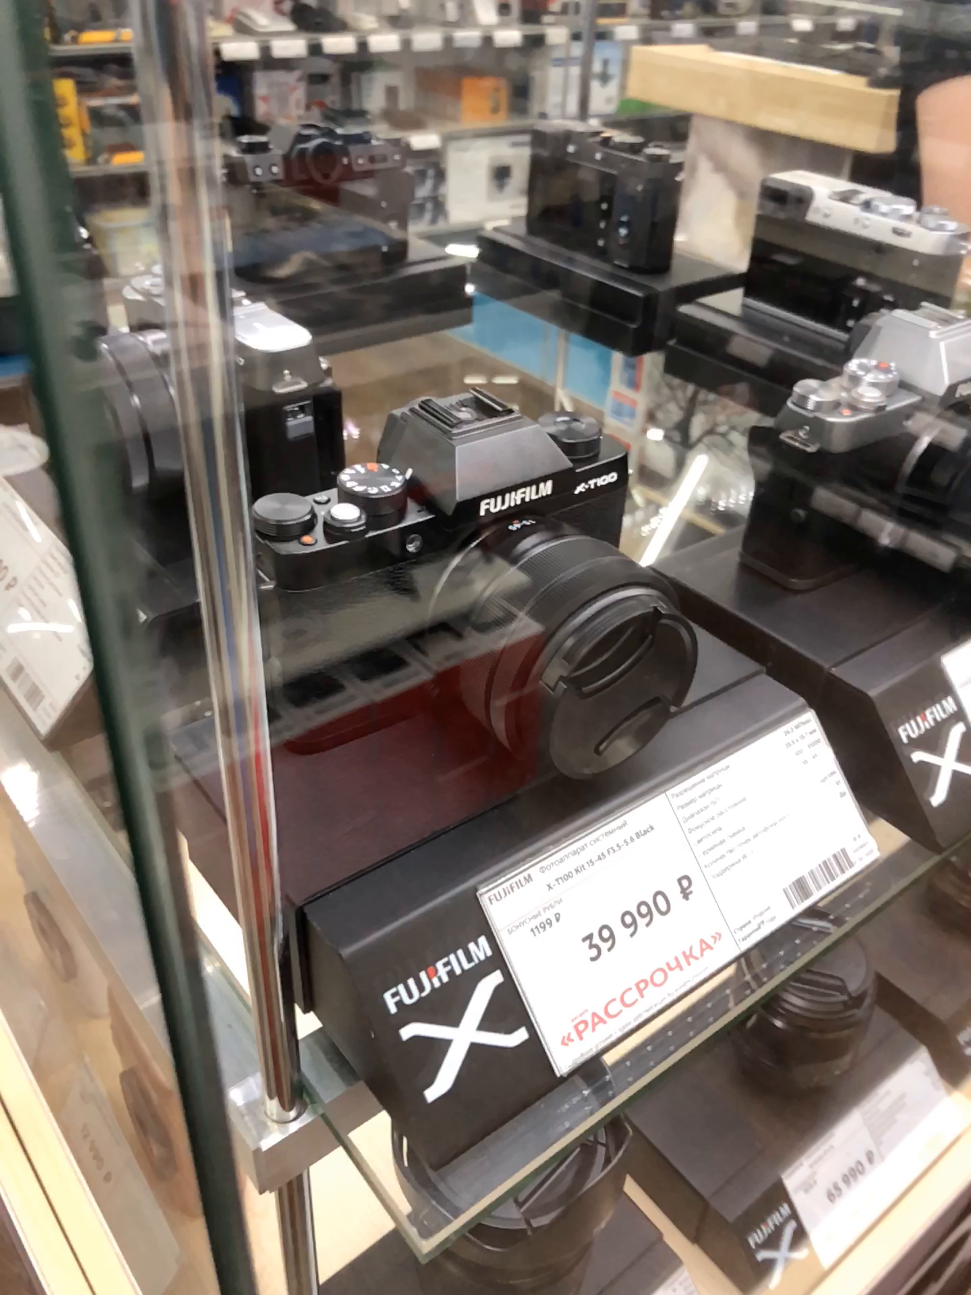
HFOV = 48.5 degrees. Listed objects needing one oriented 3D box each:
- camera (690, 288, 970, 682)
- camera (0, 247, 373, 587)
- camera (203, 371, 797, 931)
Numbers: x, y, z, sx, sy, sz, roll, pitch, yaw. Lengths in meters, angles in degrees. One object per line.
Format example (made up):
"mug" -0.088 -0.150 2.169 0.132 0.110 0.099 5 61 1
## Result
"camera" 0.155 -0.064 0.375 0.120 0.078 0.099 -22 42 -31
"camera" -0.119 -0.094 0.405 0.100 0.069 0.120 -24 43 -33
"camera" 0.002 -0.008 0.302 0.120 0.089 0.095 -21 41 -30
